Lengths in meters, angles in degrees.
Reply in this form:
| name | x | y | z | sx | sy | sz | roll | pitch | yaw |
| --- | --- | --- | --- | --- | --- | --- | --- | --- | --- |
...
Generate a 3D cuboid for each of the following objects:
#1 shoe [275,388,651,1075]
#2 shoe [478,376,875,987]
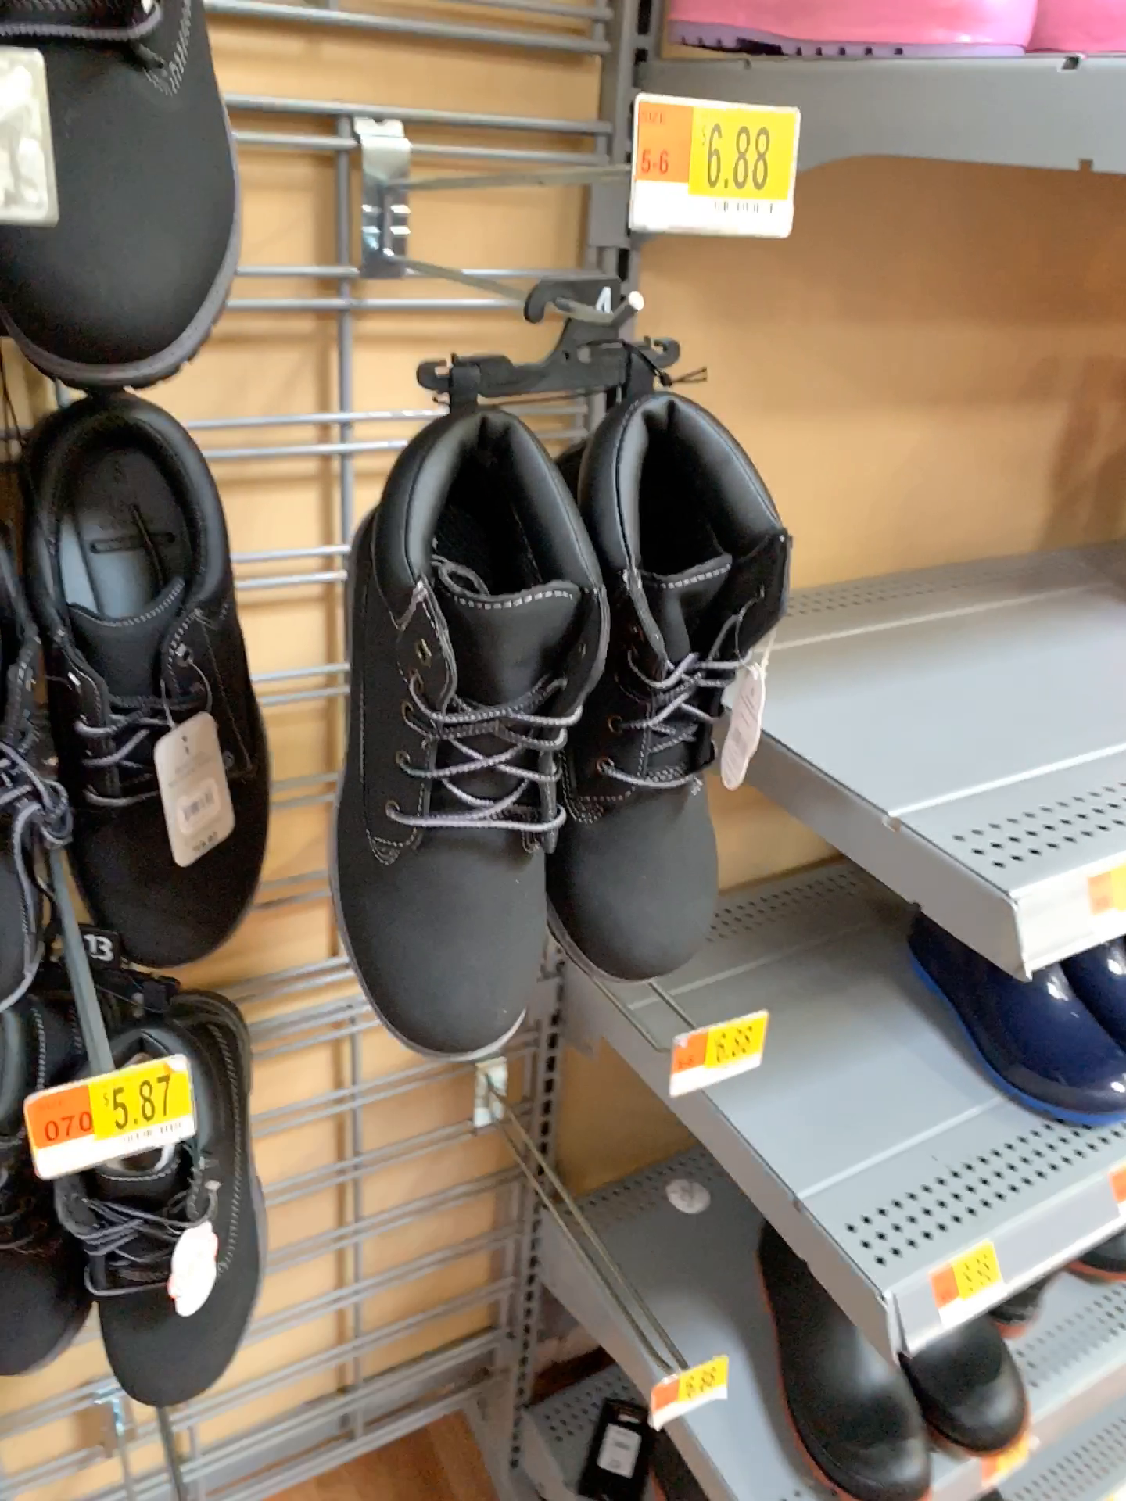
| name | x | y | z | sx | sy | sz | roll | pitch | yaw |
| --- | --- | --- | --- | --- | --- | --- | --- | --- | --- |
| shoe | -0.040 | -0.015 | 0.450 | 0.100 | 0.229 | 0.110 | -7 | 12 | -25 |
| shoe | 0.043 | -0.034 | 0.464 | 0.100 | 0.206 | 0.120 | -9 | 12 | -24 |
